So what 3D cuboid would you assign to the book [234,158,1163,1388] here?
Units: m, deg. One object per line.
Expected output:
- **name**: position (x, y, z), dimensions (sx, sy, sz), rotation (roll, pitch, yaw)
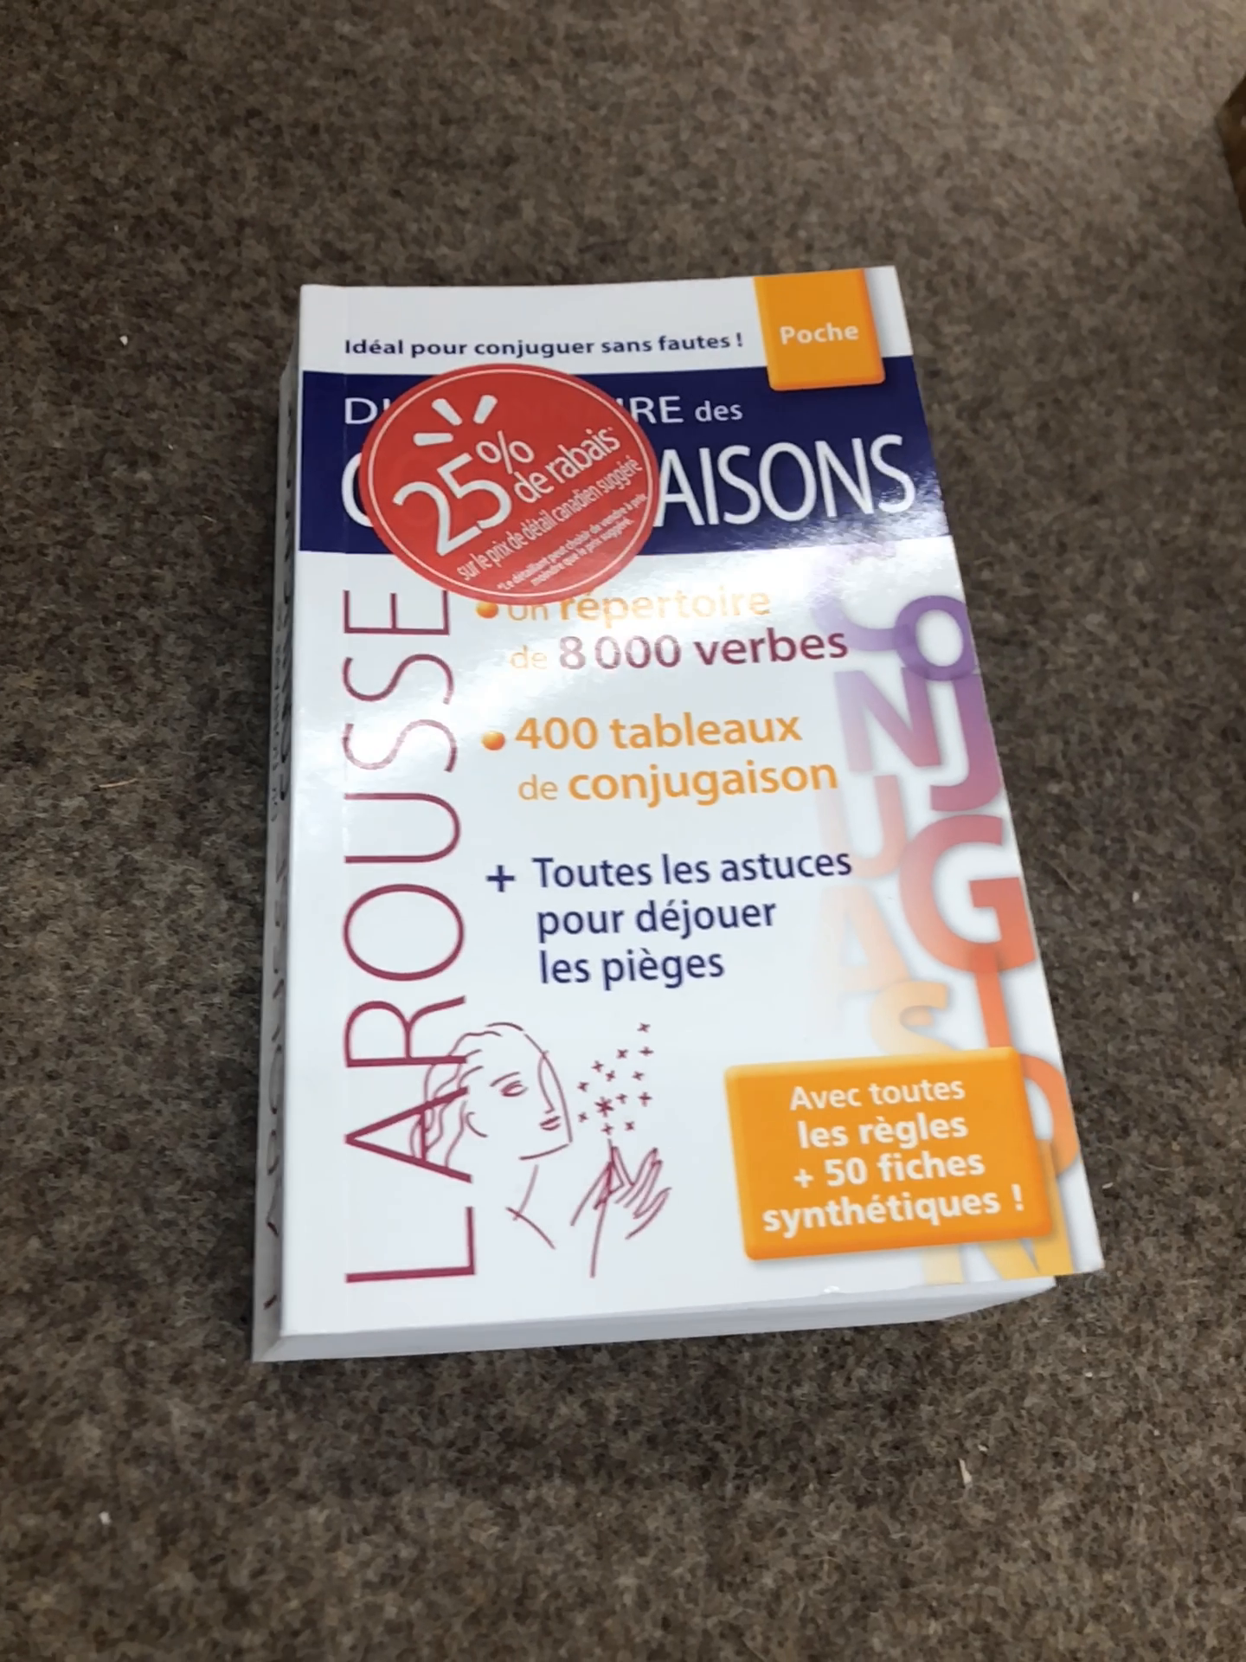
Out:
- **book**: position (-0.001, -0.015, 0.246), dimensions (0.124, 0.059, 0.199), rotation (2, 64, -15)
